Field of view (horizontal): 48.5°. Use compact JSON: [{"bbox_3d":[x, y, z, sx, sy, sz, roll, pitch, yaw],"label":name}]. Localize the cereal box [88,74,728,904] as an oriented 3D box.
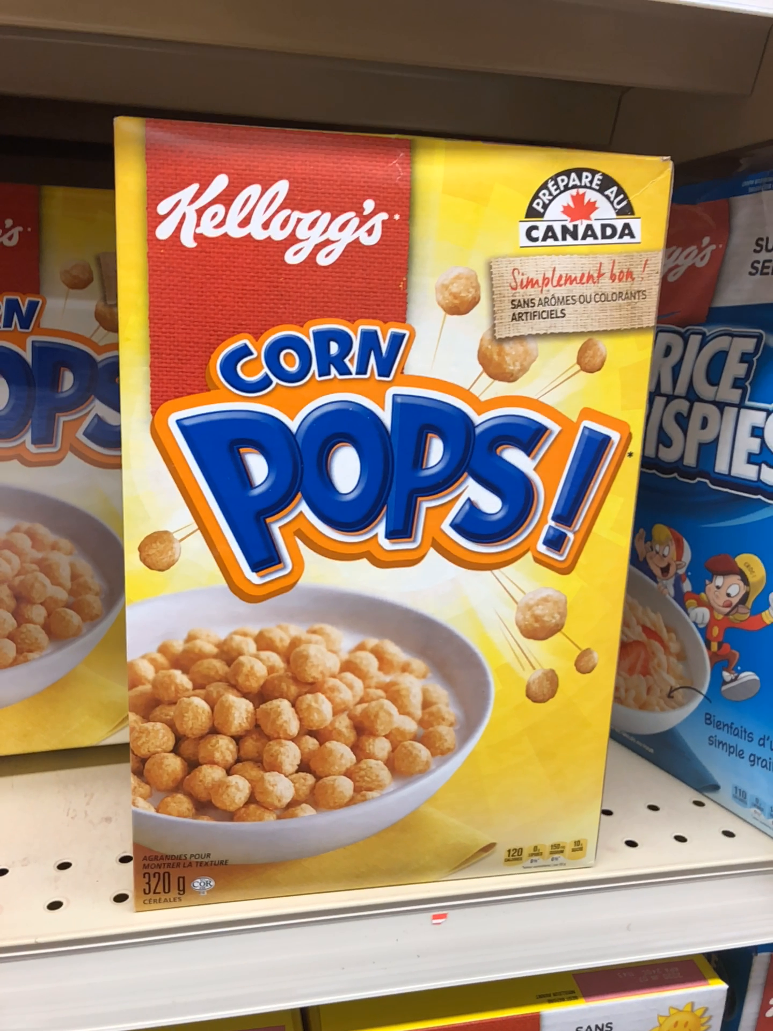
[{"bbox_3d":[0.003,-0.001,0.339,0.210,0.289,0.060,0,14,-11],"label":"cereal box"}]
